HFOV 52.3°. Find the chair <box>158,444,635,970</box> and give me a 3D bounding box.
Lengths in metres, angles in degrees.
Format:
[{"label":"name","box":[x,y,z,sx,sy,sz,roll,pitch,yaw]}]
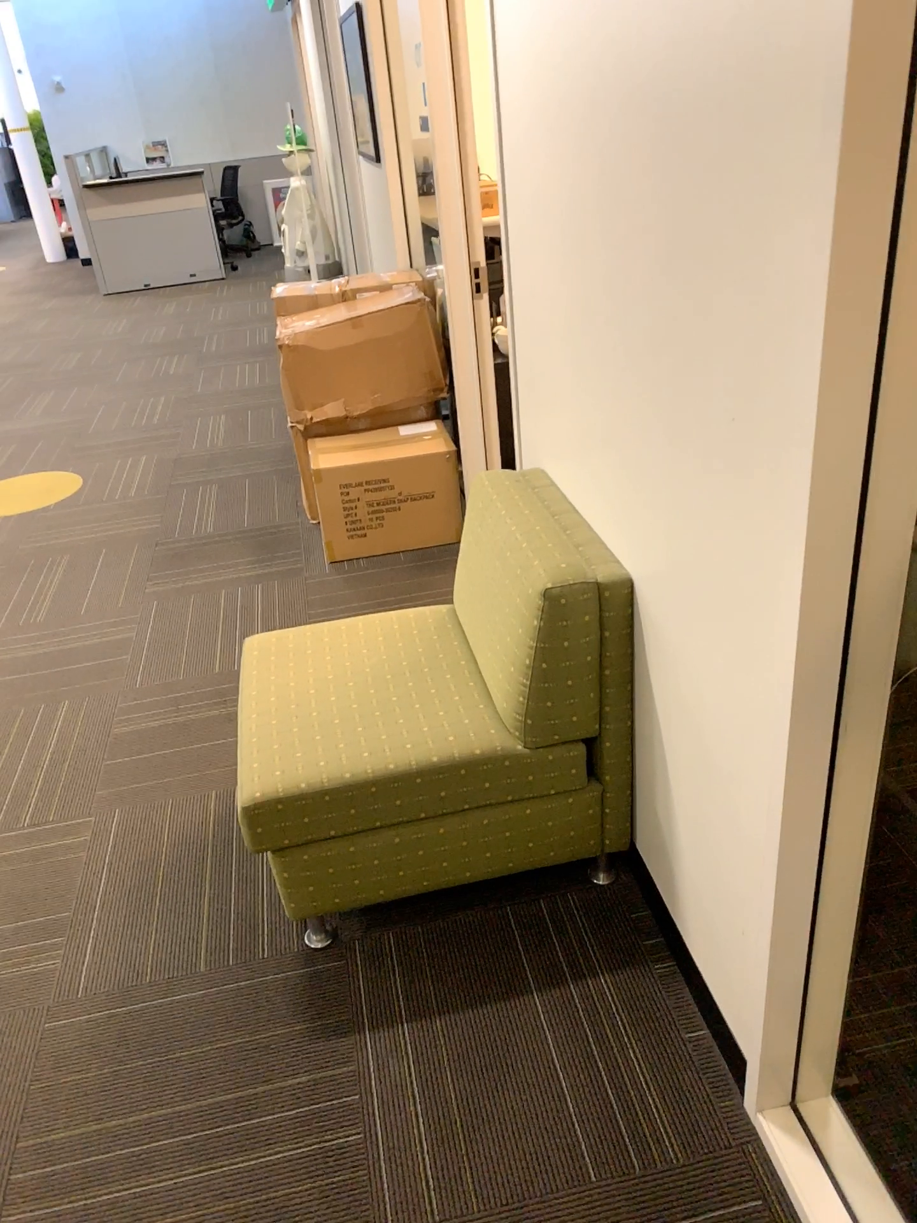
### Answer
[{"label":"chair","box":[-0.132,0.146,1.992,0.780,0.686,0.735,-11,29,-8]}]
